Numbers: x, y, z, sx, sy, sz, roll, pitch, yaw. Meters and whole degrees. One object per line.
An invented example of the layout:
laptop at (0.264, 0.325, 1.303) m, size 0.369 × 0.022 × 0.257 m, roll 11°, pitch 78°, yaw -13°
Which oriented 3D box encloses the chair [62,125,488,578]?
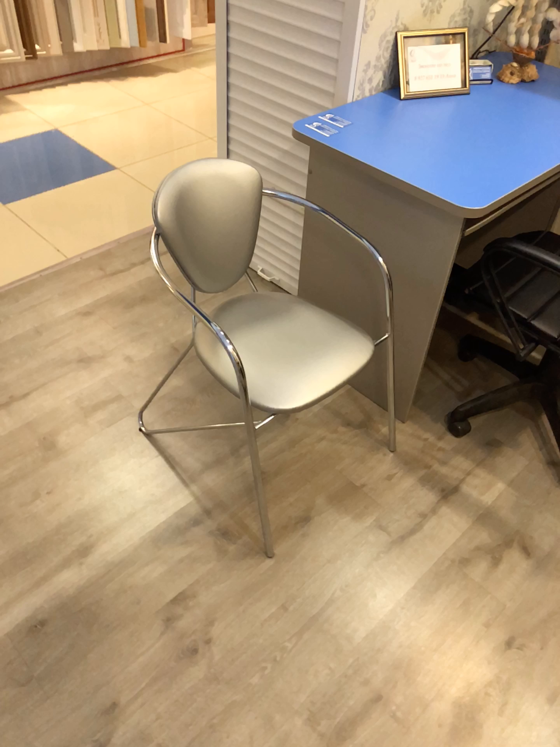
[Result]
chair at (-0.034, -0.090, 1.628) m, size 0.731 × 0.746 × 0.612 m, roll 35°, pitch 51°, yaw 29°
